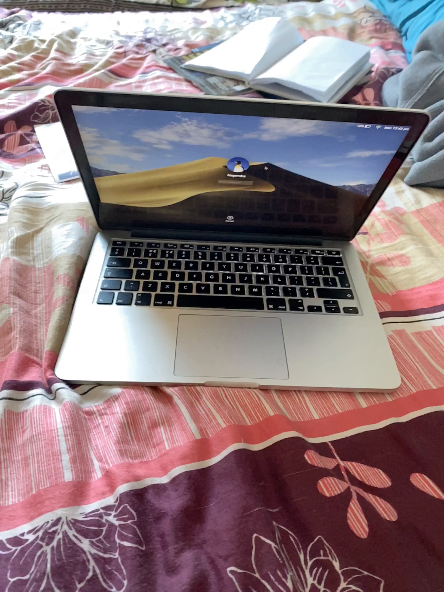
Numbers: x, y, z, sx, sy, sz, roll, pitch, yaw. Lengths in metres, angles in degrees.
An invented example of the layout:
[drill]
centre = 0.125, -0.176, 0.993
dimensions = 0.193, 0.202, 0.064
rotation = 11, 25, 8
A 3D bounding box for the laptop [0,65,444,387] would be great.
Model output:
[laptop]
centre = 0.008, -0.062, 0.408
dimensions = 0.303, 0.191, 0.203
rotation = 2, 46, -1
